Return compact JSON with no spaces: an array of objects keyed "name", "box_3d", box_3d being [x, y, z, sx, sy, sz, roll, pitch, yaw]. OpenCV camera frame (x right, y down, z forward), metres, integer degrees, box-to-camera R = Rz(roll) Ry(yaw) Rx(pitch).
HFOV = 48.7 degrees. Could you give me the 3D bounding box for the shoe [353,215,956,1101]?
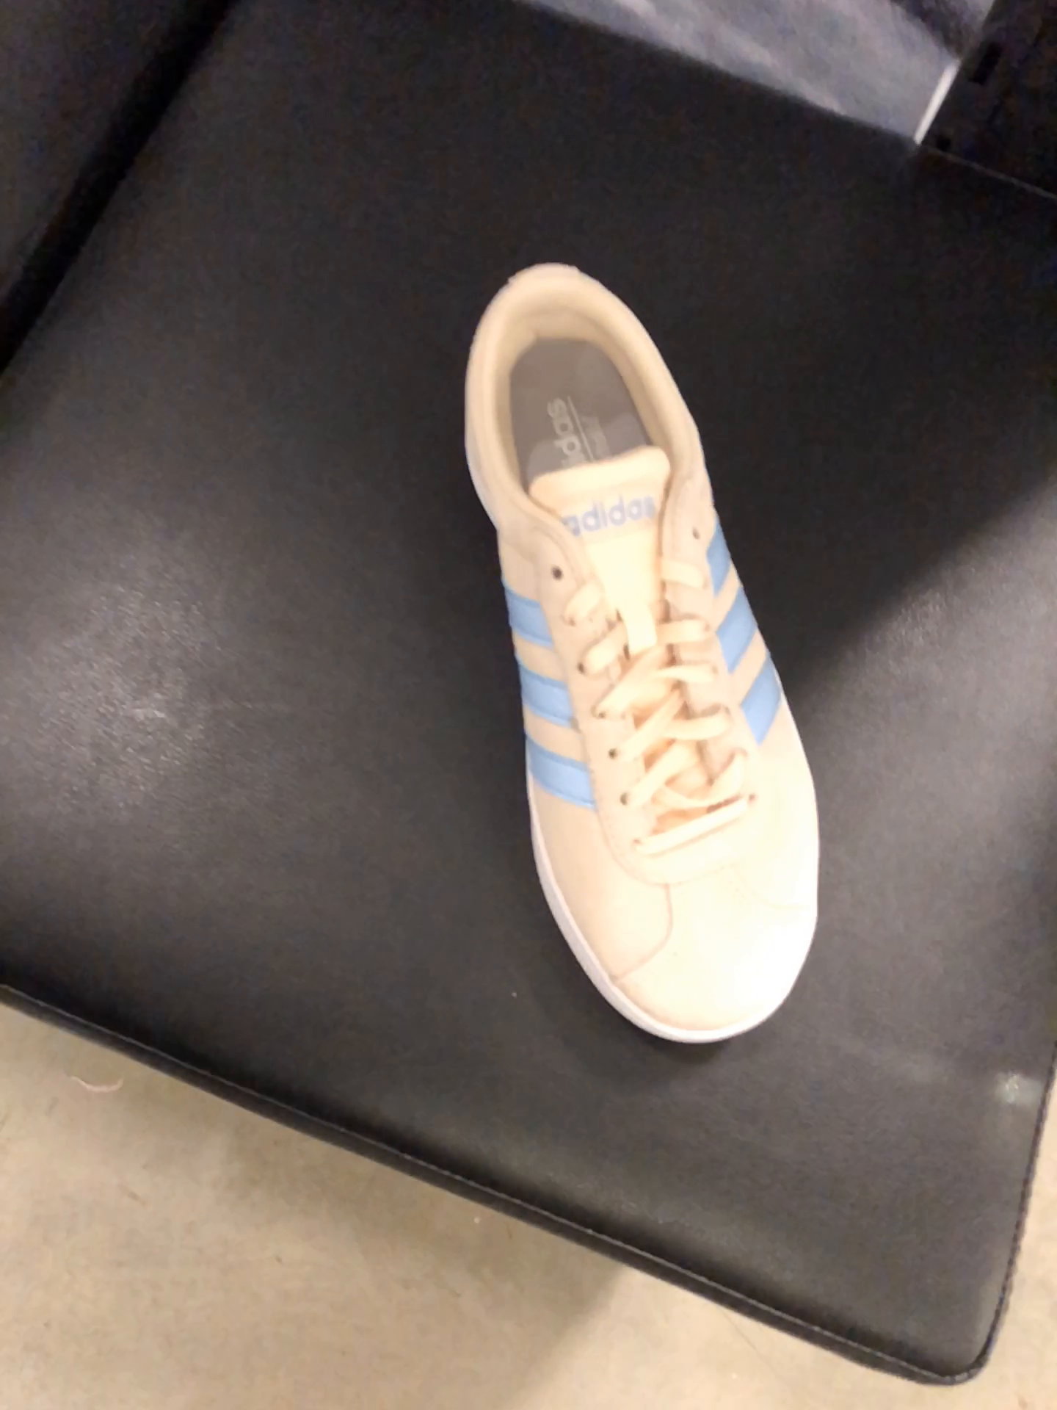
[{"name":"shoe","box_3d":[0.028,-0.016,0.388,0.100,0.090,0.260,-16,75,-9]}]
